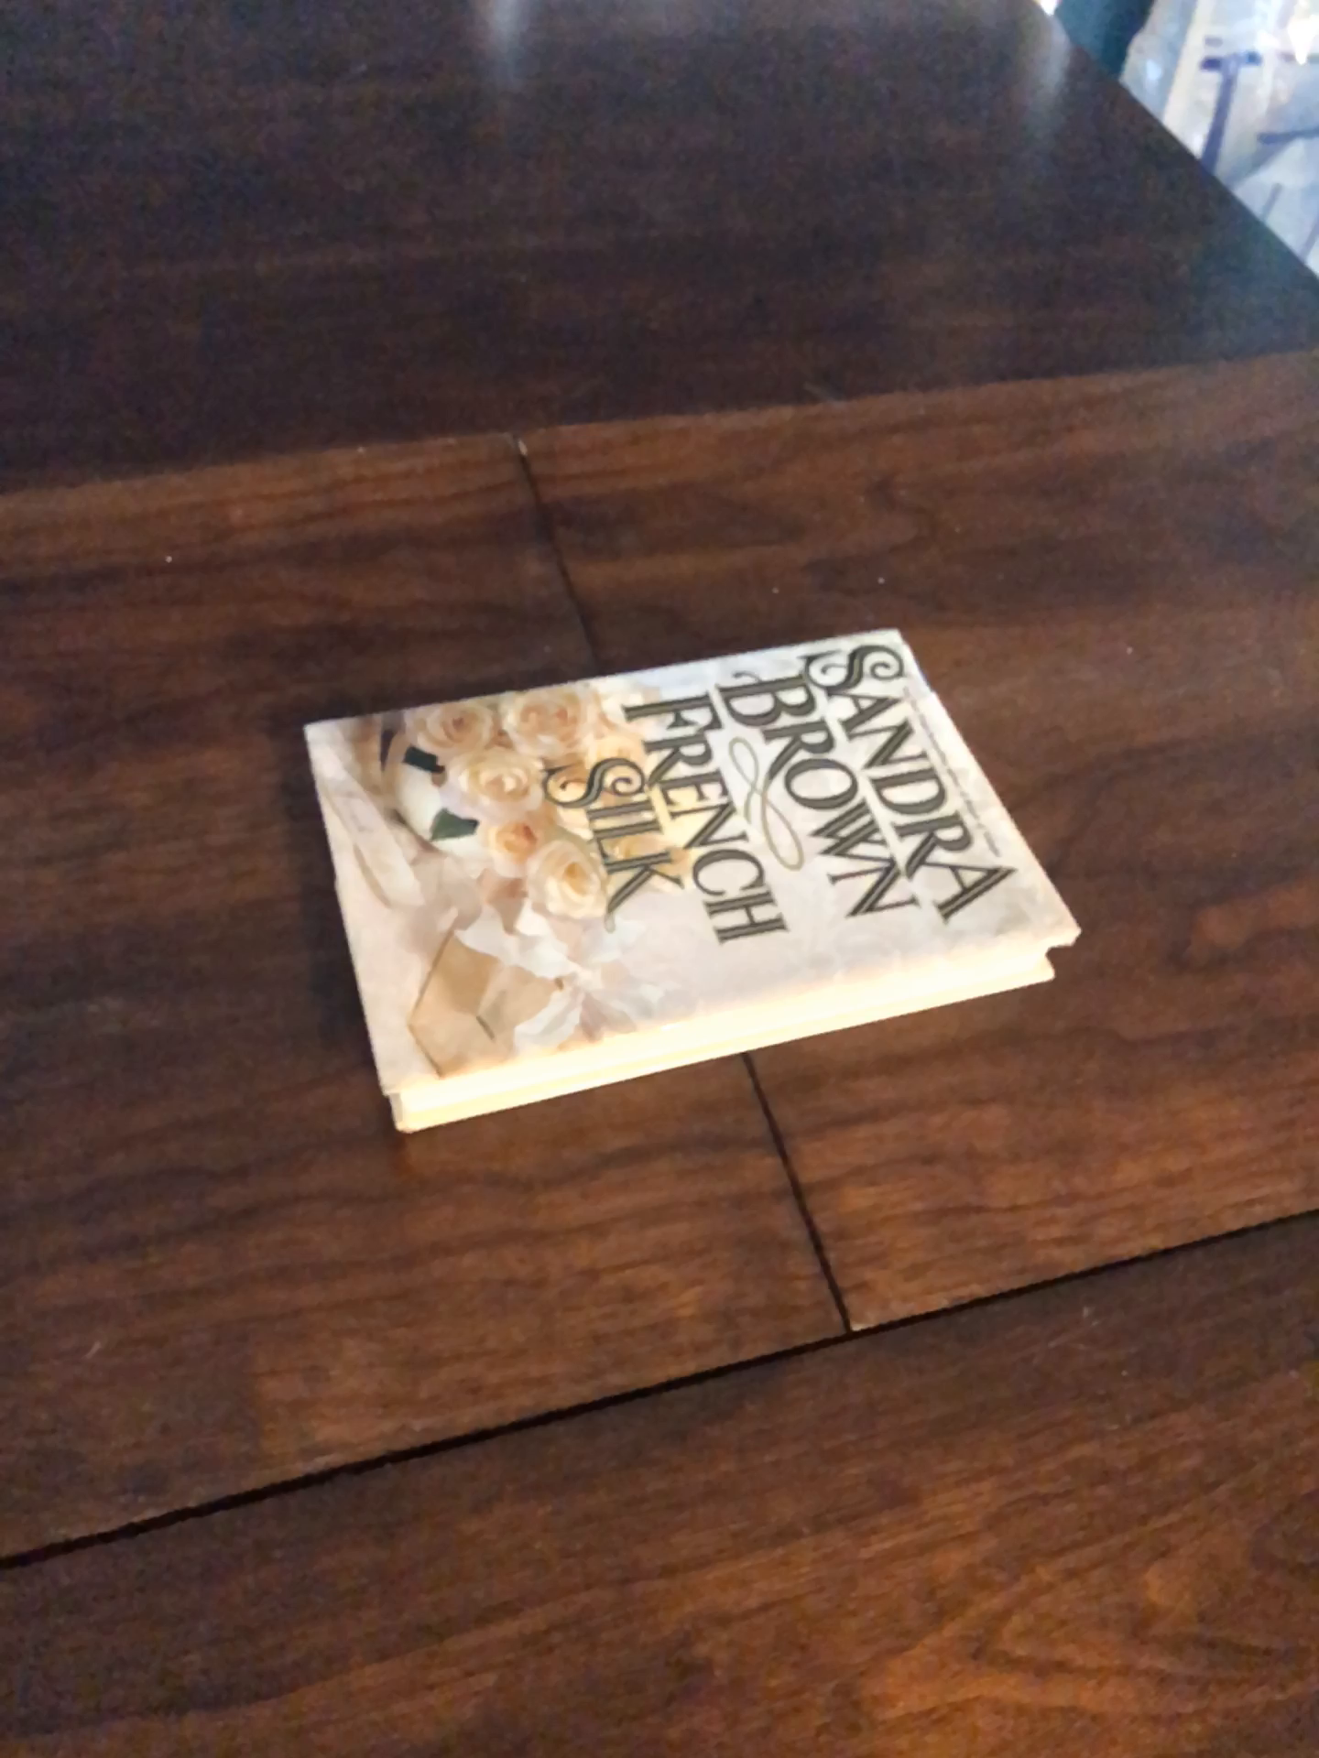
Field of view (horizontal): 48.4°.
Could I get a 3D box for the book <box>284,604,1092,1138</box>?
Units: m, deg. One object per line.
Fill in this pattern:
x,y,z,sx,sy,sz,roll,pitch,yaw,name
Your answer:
0.004,-0.014,0.516,0.240,0.033,0.161,-11,54,-14,book
